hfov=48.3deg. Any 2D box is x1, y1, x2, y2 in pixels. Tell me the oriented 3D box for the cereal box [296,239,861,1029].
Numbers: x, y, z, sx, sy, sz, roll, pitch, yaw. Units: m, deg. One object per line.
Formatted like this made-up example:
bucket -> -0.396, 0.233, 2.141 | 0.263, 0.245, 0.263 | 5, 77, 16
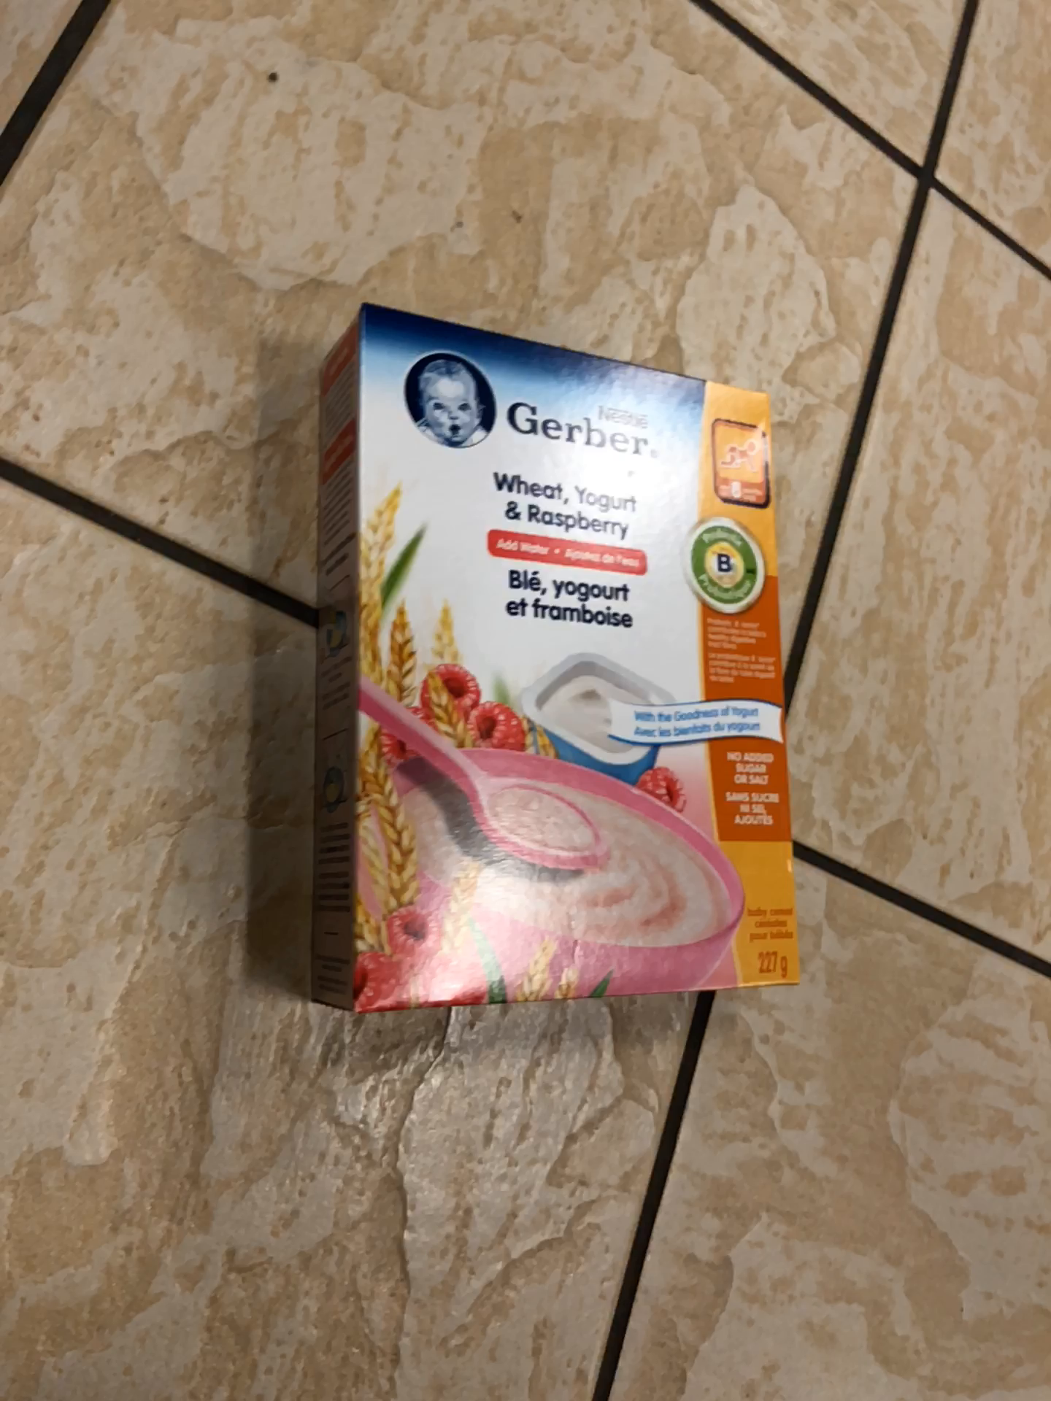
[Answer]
cereal box -> 0.017, -0.014, 0.360 | 0.161, 0.050, 0.210 | 4, 78, -26
